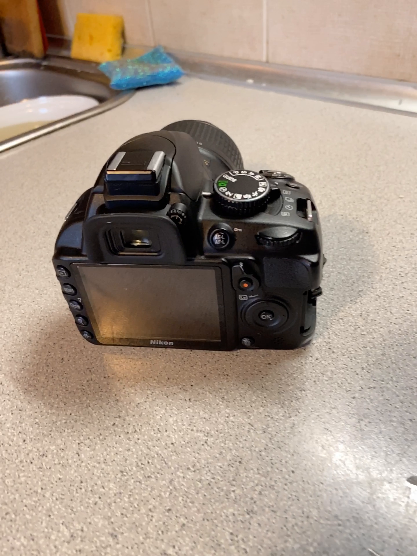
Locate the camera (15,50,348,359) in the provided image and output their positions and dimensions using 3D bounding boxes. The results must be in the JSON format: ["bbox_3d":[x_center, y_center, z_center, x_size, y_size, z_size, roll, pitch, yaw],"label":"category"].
[{"bbox_3d":[0.003,-0.056,0.251,0.121,0.091,0.178,1,40,9],"label":"camera"}]
